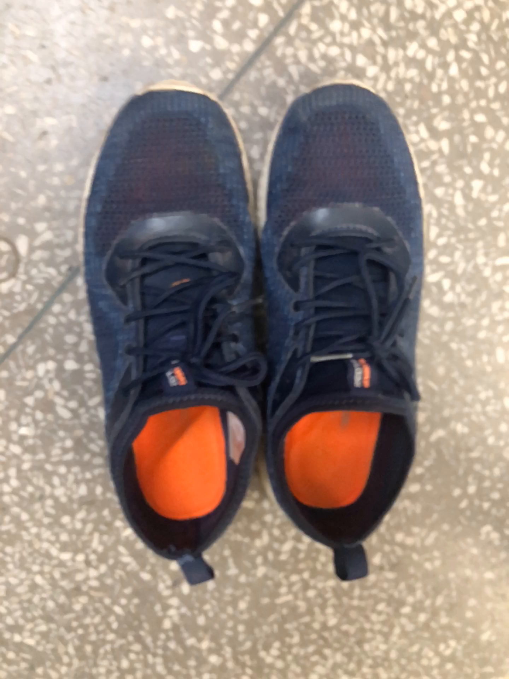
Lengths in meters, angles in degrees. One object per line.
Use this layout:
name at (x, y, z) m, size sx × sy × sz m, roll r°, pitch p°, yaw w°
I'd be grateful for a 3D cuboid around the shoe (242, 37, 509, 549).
shoe at (0.060, -0.022, 0.332) m, size 0.123 × 0.100 × 0.249 m, roll -2°, pitch 103°, yaw -3°

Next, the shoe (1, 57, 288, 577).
shoe at (-0.048, -0.010, 0.328) m, size 0.113 × 0.100 × 0.249 m, roll -4°, pitch 103°, yaw -2°
